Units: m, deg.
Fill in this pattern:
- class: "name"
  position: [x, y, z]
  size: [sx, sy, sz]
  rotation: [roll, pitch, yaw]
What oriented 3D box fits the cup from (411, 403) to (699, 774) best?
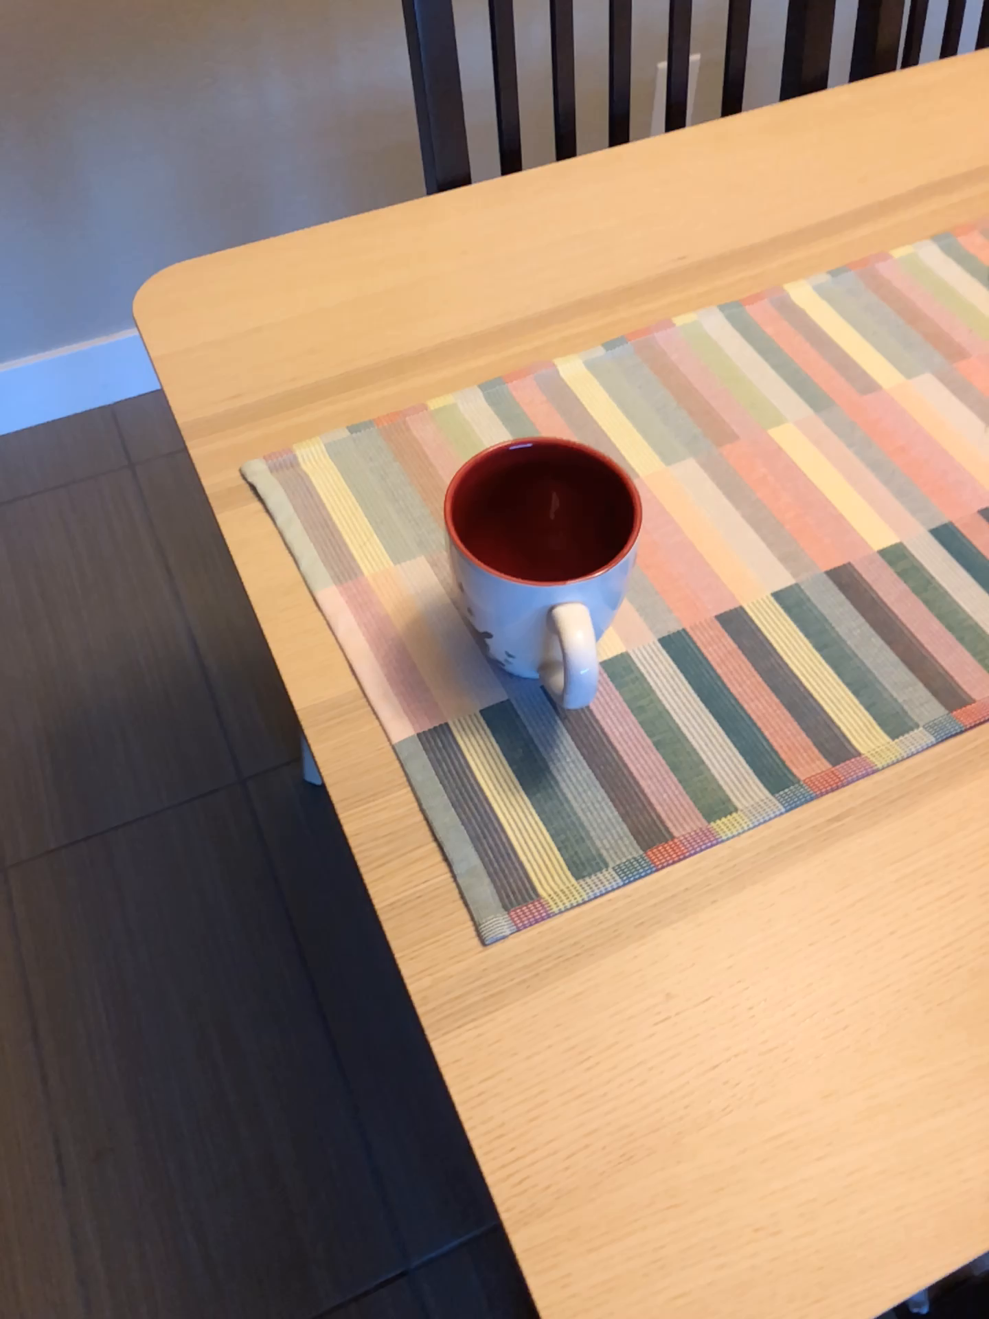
- class: "cup"
  position: [0.023, -0.036, 0.526]
  size: [0.100, 0.090, 0.140]
  rotation: [-9, 55, -6]
